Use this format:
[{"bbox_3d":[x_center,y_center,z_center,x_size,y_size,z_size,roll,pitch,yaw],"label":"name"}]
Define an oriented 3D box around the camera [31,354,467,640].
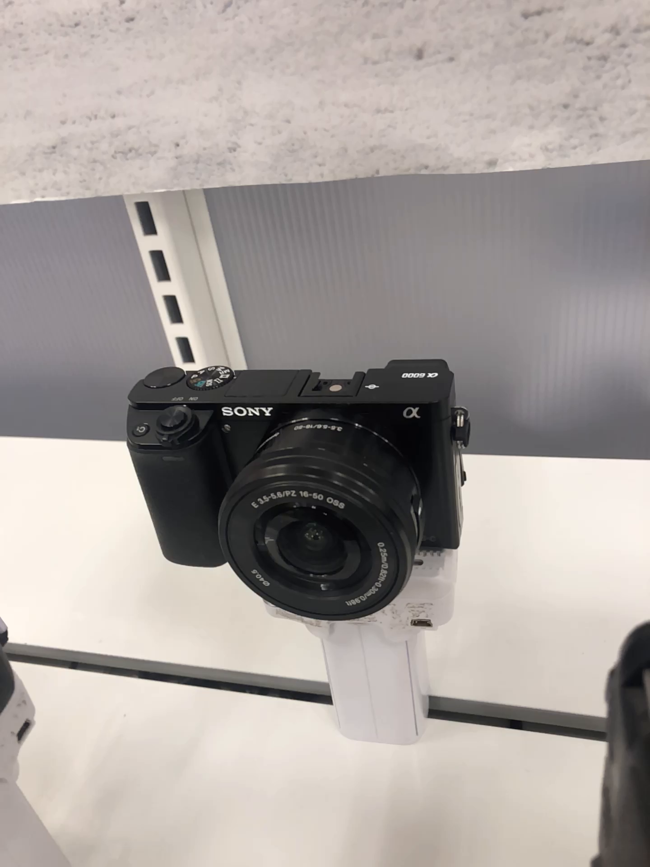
[{"bbox_3d":[-0.017,0.017,0.239,0.120,0.058,0.068,1,36,15],"label":"camera"}]
